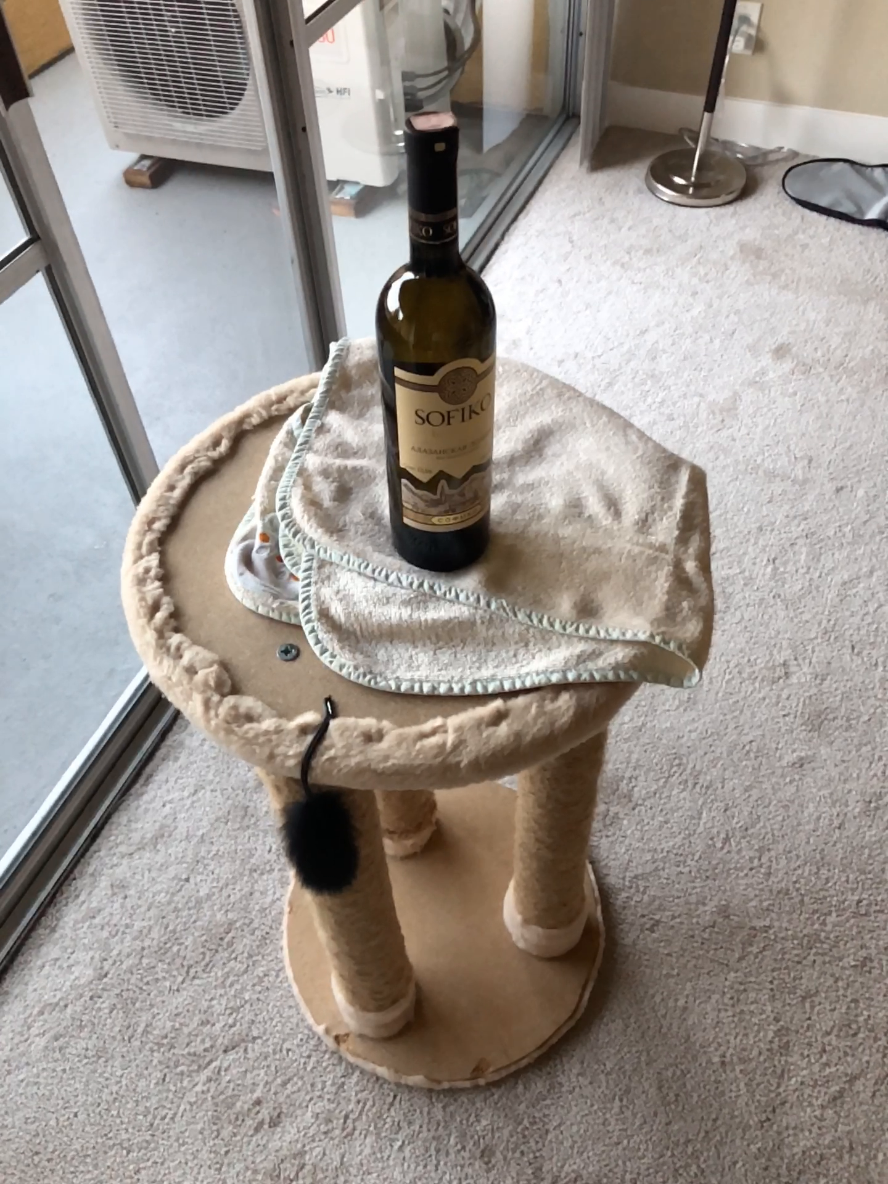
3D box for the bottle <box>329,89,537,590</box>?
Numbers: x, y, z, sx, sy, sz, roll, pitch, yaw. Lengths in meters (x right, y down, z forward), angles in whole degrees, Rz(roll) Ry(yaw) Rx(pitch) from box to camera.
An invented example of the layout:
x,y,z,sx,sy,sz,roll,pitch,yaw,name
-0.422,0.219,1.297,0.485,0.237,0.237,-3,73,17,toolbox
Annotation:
x,y,z,sx,sy,sz,roll,pitch,yaw,name
-0.003,-0.126,0.561,0.080,0.269,0.080,-1,50,1,bottle
